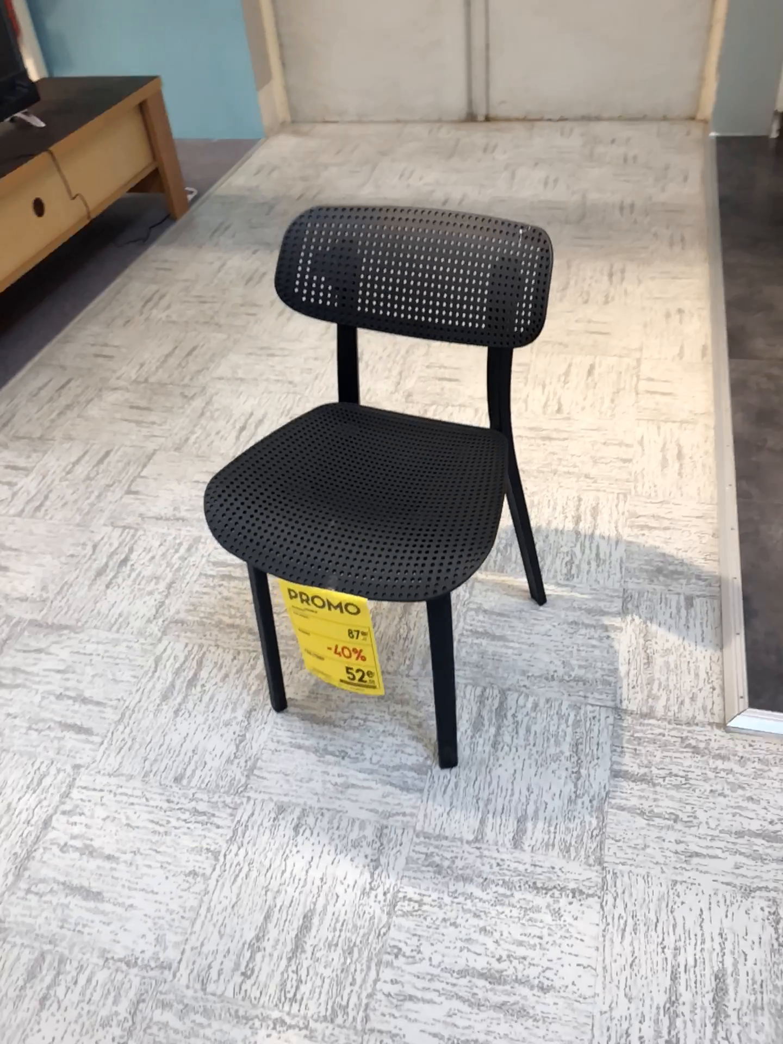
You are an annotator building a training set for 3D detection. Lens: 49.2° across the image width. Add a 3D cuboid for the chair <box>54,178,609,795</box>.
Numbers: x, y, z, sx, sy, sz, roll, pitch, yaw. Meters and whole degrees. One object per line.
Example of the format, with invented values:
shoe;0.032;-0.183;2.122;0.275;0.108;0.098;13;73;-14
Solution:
chair;-0.021;-0.071;1.318;0.540;0.686;0.523;12;44;20
